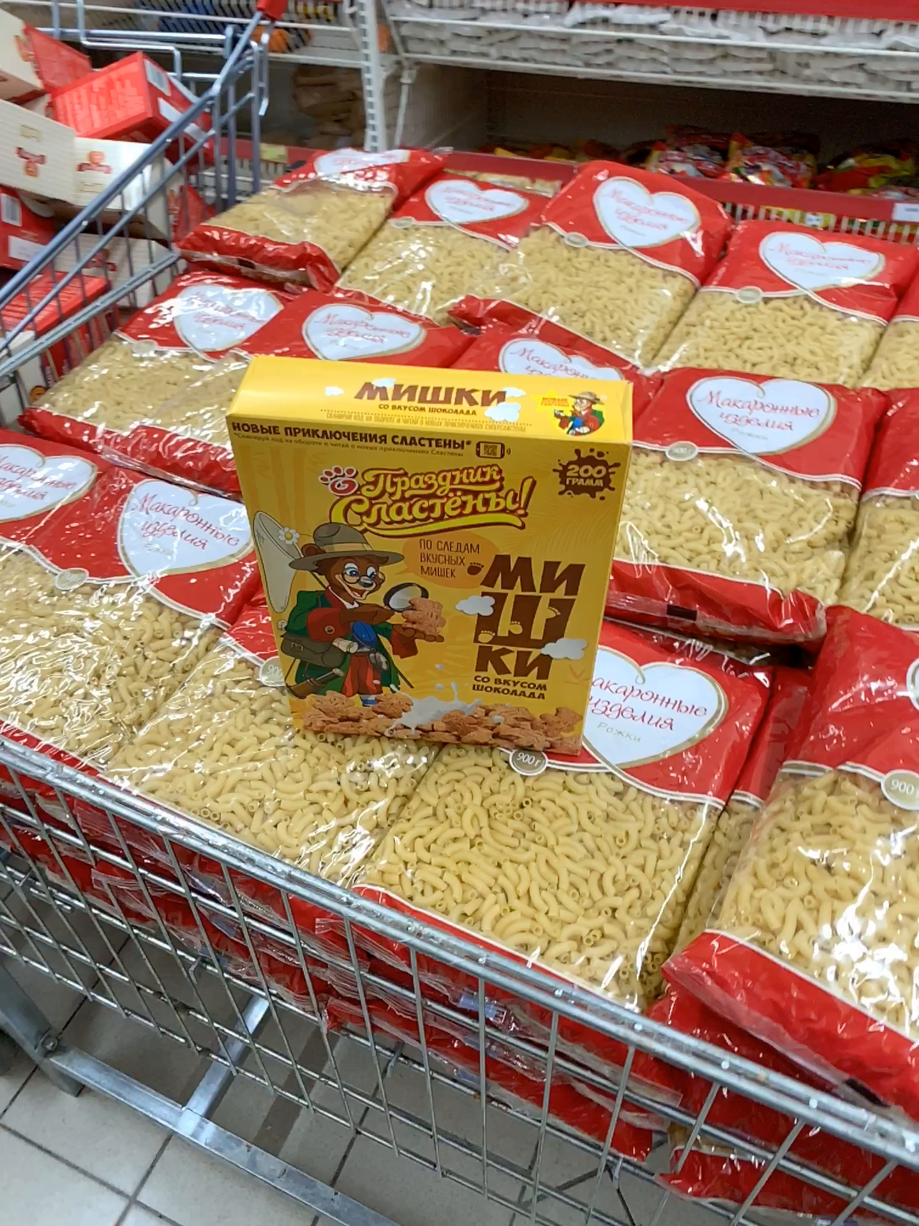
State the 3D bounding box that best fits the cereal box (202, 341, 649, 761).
[{"bbox_3d":[-0.009,-0.017,0.453,0.170,0.218,0.050,5,50,6],"label":"cereal box"}]
